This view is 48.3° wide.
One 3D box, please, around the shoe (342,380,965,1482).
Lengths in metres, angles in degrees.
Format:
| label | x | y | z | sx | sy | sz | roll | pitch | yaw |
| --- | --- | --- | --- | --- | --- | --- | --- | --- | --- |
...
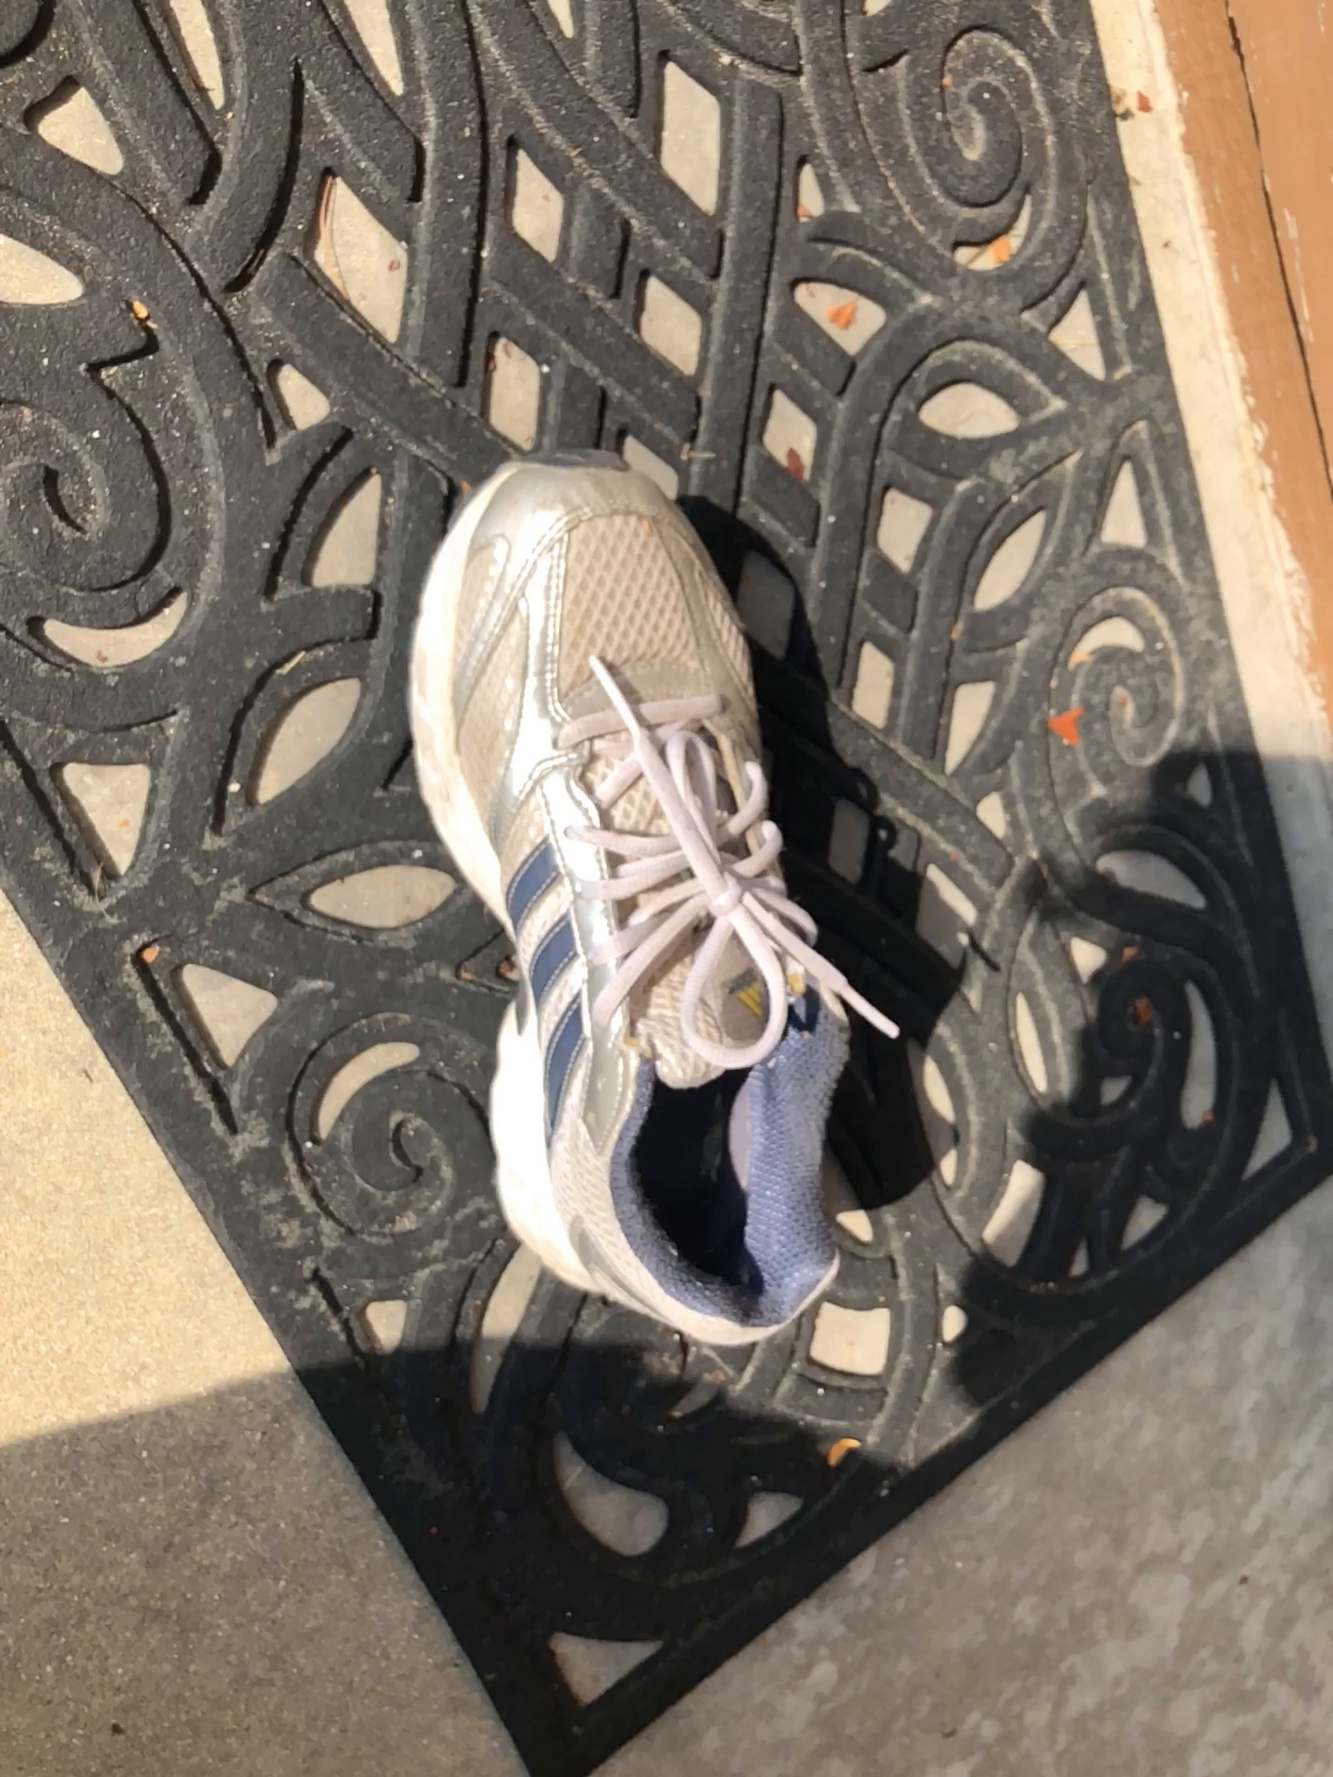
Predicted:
| label | x | y | z | sx | sy | sz | roll | pitch | yaw |
| --- | --- | --- | --- | --- | --- | --- | --- | --- | --- |
| shoe | -0.004 | 0.004 | 0.422 | 0.100 | 0.129 | 0.261 | -14 | 106 | -25 |
